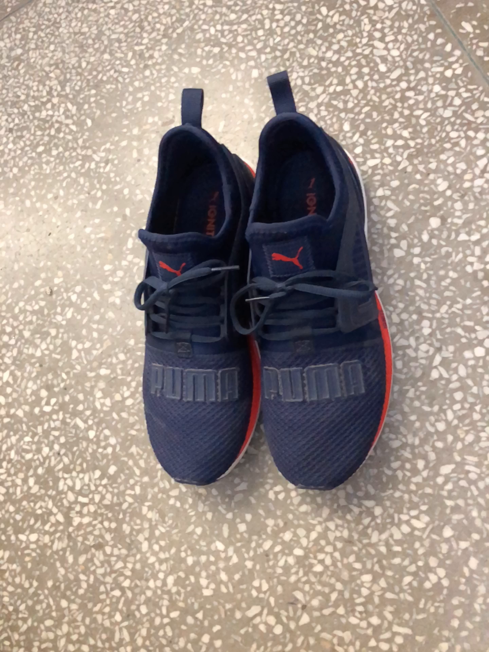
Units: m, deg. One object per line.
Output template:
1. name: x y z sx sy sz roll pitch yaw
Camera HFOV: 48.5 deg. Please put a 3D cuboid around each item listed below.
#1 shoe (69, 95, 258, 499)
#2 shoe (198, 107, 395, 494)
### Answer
1. shoe: -0.054 -0.015 0.411 0.100 0.100 0.270 -5 77 15
2. shoe: 0.039 -0.007 0.384 0.100 0.120 0.230 -6 77 21
